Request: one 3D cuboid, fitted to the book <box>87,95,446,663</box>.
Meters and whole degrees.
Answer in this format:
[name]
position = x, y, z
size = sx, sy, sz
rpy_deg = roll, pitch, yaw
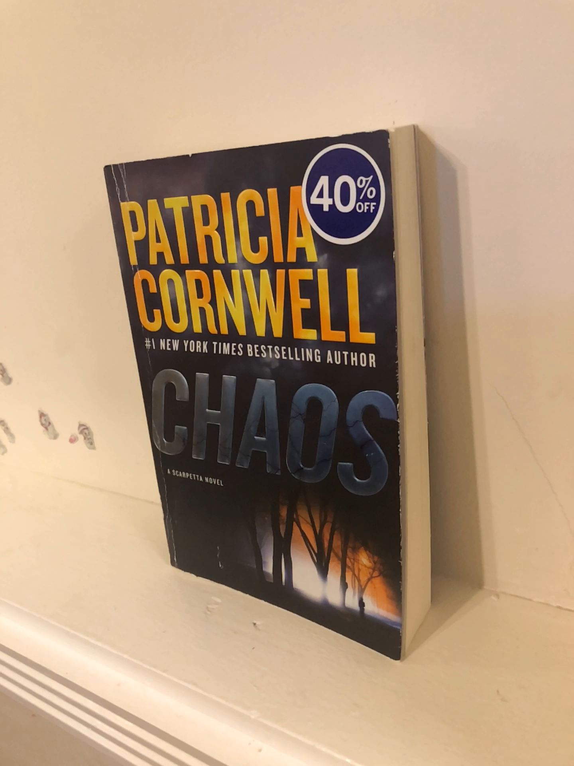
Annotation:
[book]
position = -0.013, -0.005, 0.310
size = 0.171, 0.219, 0.050
rpy_deg = 8, 18, 39
